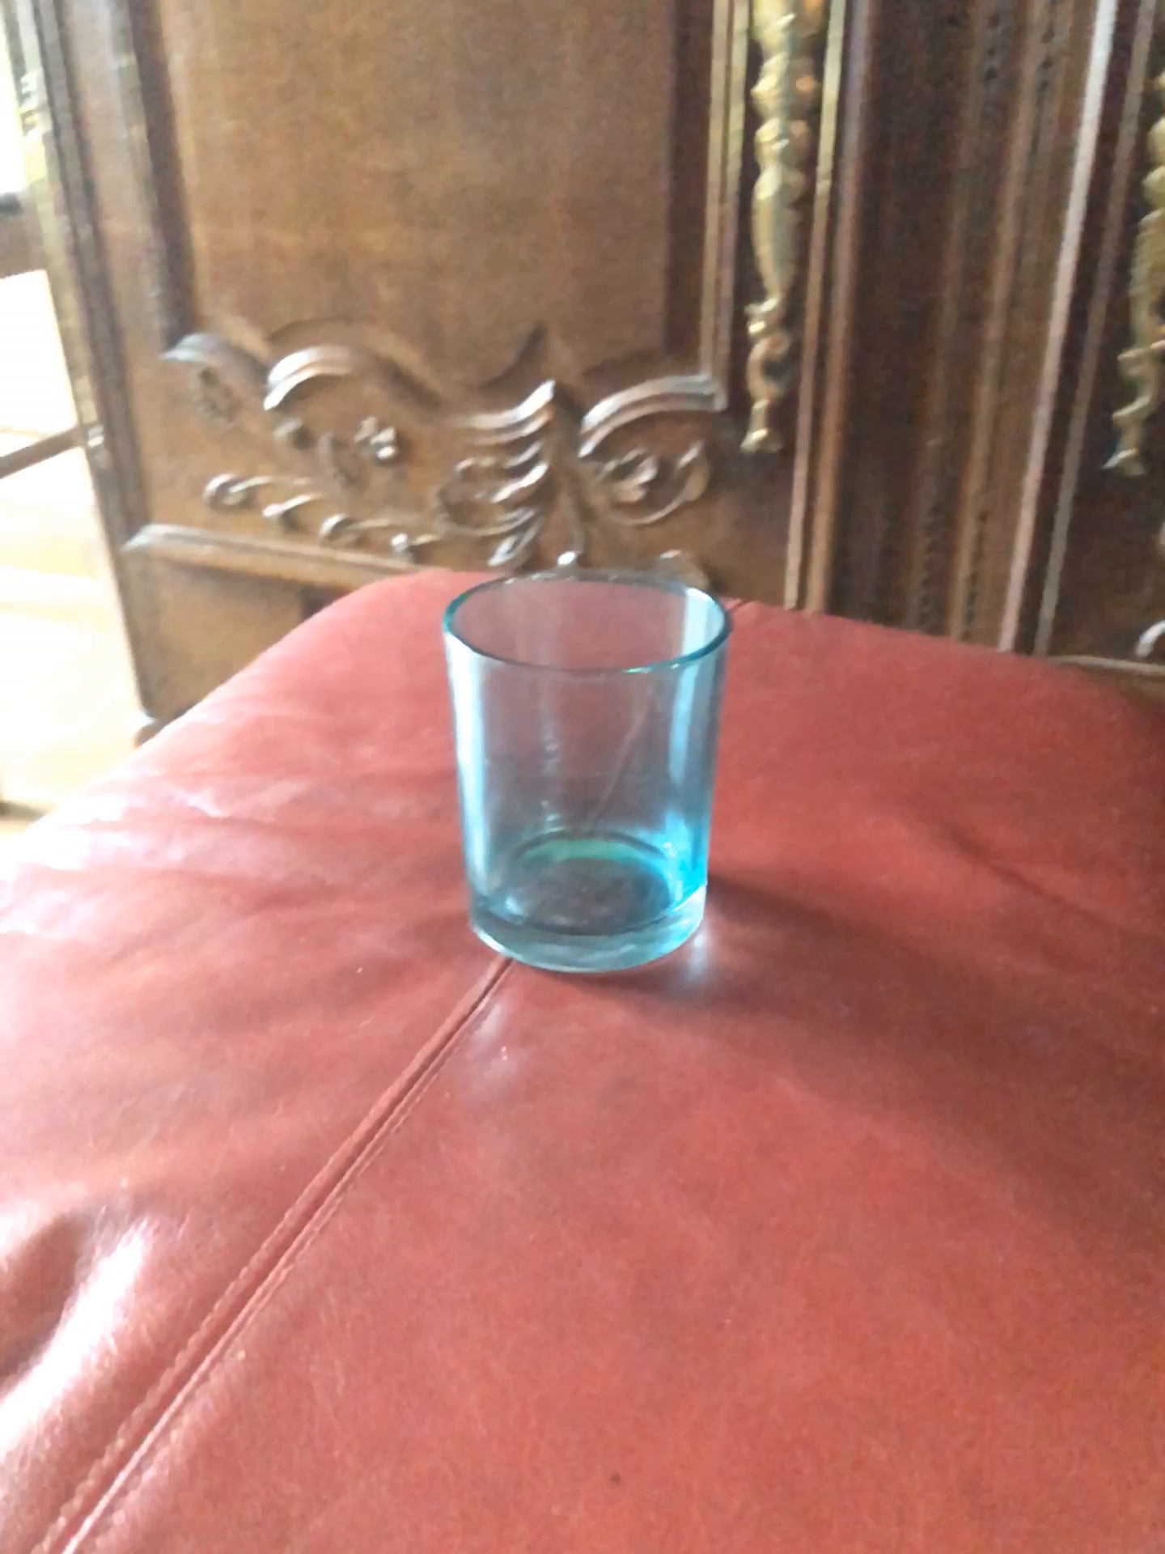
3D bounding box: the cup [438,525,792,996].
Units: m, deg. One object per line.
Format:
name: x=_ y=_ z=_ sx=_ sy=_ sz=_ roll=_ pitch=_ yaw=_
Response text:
cup: x=0.005 y=-0.007 z=0.325 sx=0.070 sy=0.089 sz=0.070 roll=-1 pitch=29 yaw=0
